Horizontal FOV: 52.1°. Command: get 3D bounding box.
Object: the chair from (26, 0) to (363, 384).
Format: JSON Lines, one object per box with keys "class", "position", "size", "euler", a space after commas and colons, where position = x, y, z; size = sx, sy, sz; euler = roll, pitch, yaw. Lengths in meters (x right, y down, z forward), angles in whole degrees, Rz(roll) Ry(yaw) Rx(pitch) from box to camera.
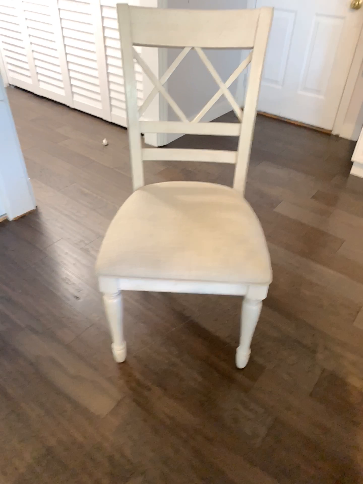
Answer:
{"class": "chair", "position": [0.026, -0.137, 1.128], "size": [0.530, 0.924, 0.654], "euler": [4, 39, 2]}
